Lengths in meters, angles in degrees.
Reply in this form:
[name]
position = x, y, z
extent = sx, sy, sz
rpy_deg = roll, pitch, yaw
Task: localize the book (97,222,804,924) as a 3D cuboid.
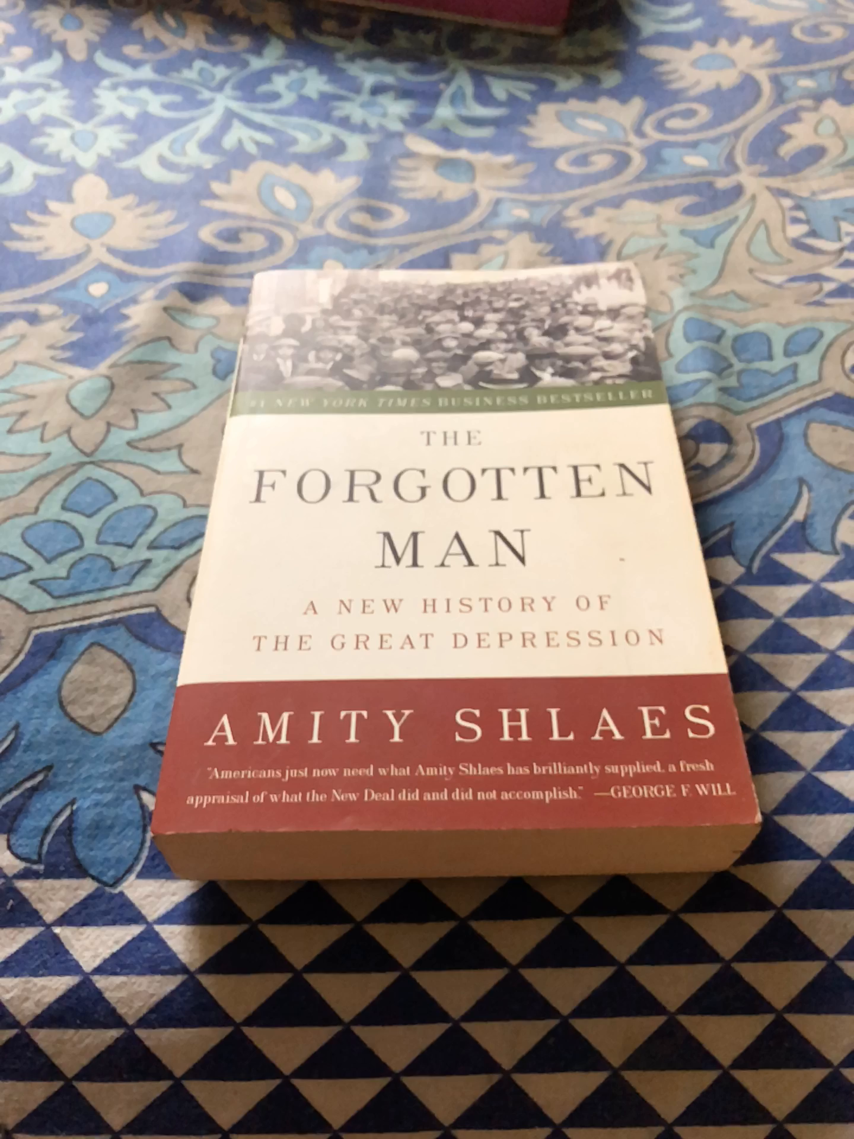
[book]
position = 0.002, -0.013, 0.269
extent = 0.140, 0.050, 0.200
rpy_deg = -2, 54, -1
